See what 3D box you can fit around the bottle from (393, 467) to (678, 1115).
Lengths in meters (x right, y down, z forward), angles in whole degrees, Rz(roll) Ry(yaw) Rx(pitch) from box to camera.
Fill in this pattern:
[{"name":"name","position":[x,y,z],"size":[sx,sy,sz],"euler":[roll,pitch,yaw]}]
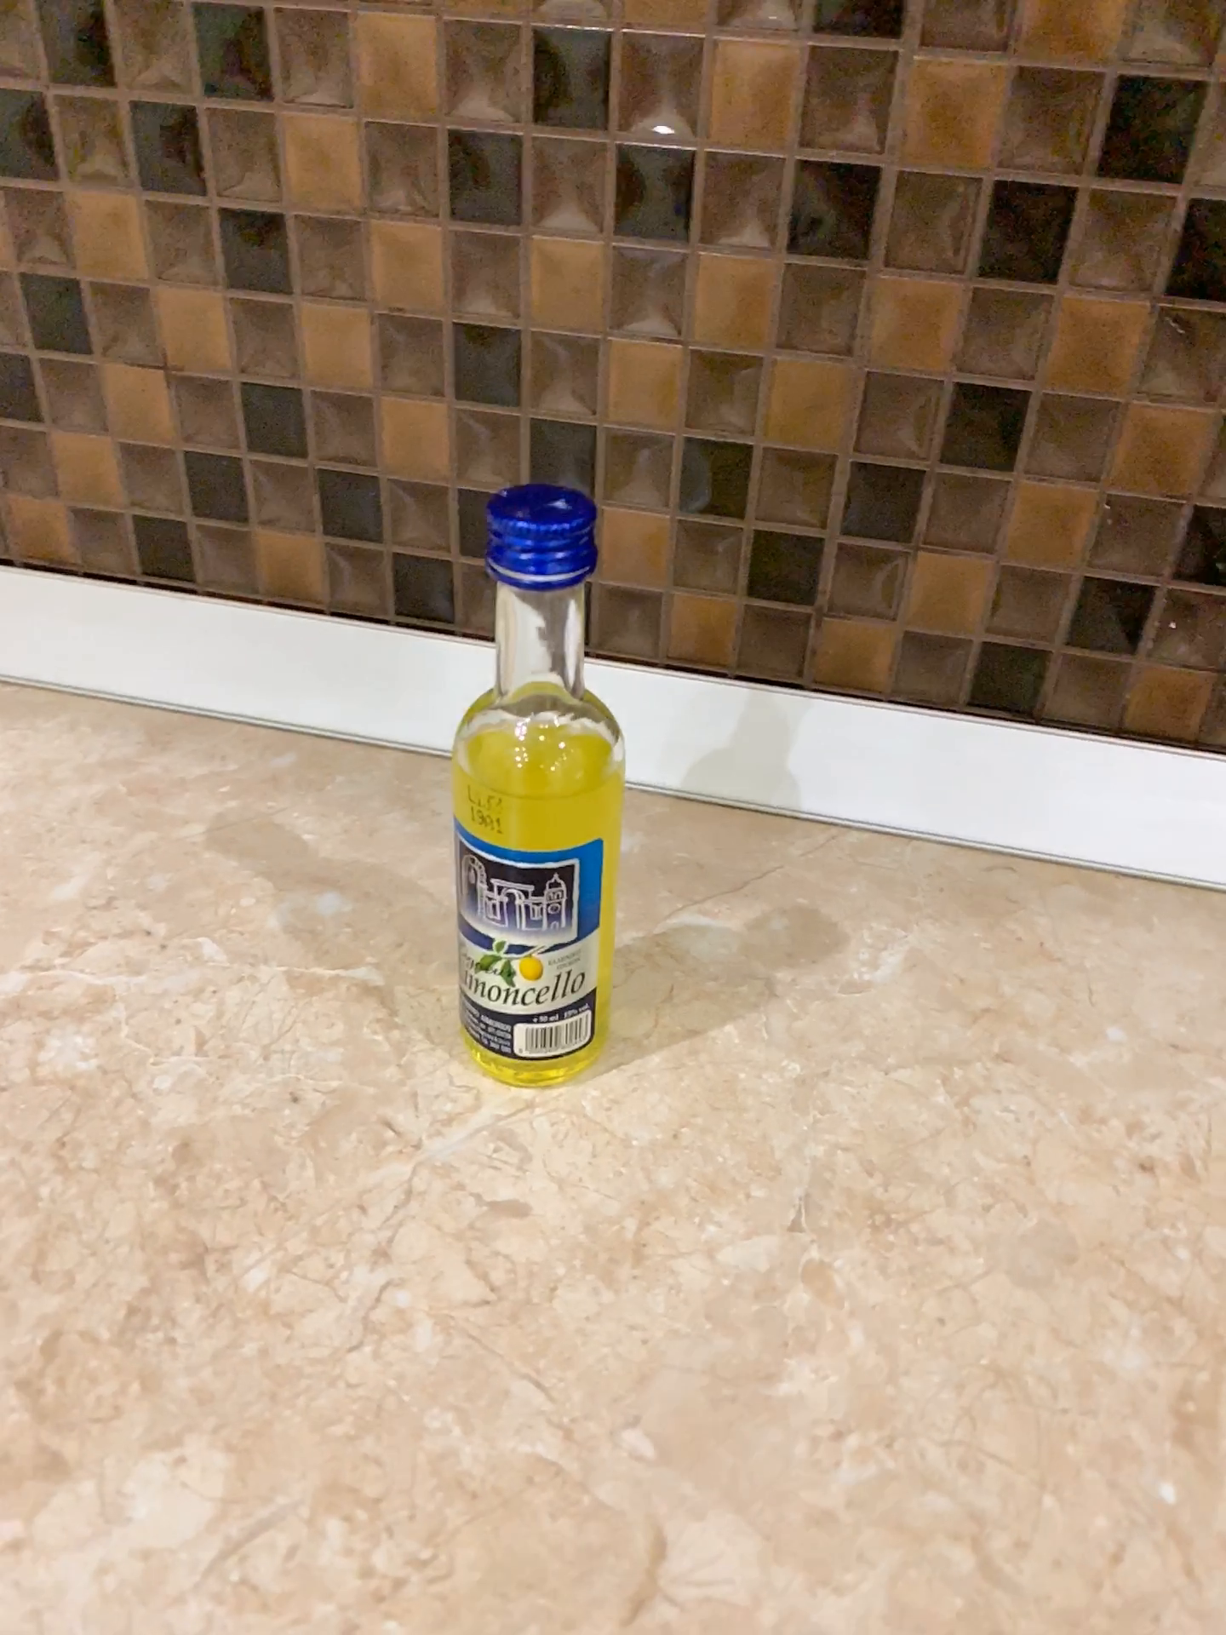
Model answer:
[{"name":"bottle","position":[-0.014,0.000,0.240],"size":[0.039,0.119,0.033],"euler":[10,36,9]}]
